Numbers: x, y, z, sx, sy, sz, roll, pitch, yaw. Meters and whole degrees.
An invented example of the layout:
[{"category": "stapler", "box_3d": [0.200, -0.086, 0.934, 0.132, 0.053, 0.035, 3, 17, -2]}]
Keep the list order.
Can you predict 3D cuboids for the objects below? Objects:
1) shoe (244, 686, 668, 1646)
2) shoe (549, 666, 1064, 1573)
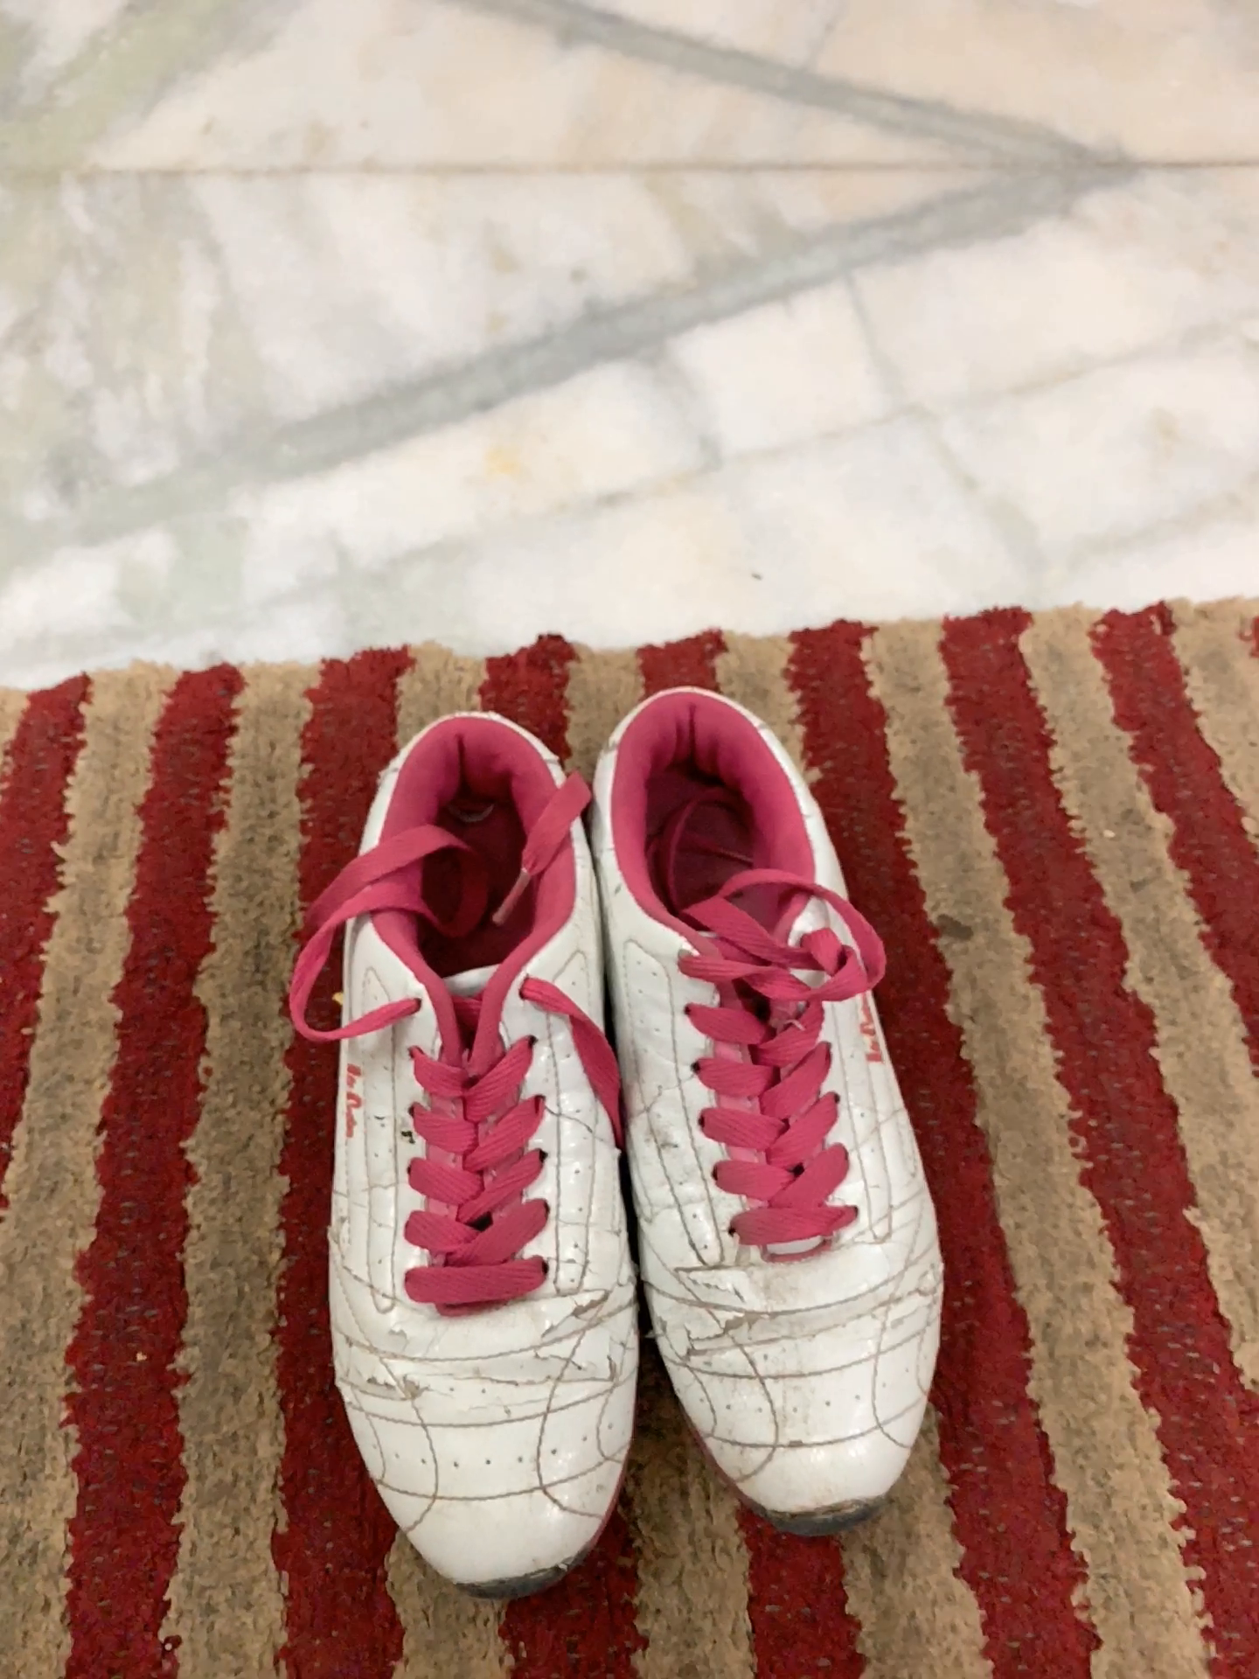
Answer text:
[{"category": "shoe", "box_3d": [-0.048, 0.086, 0.379, 0.090, 0.099, 0.241, -5, 61, -2]}, {"category": "shoe", "box_3d": [0.037, 0.078, 0.394, 0.100, 0.099, 0.241, -5, 61, -2]}]
